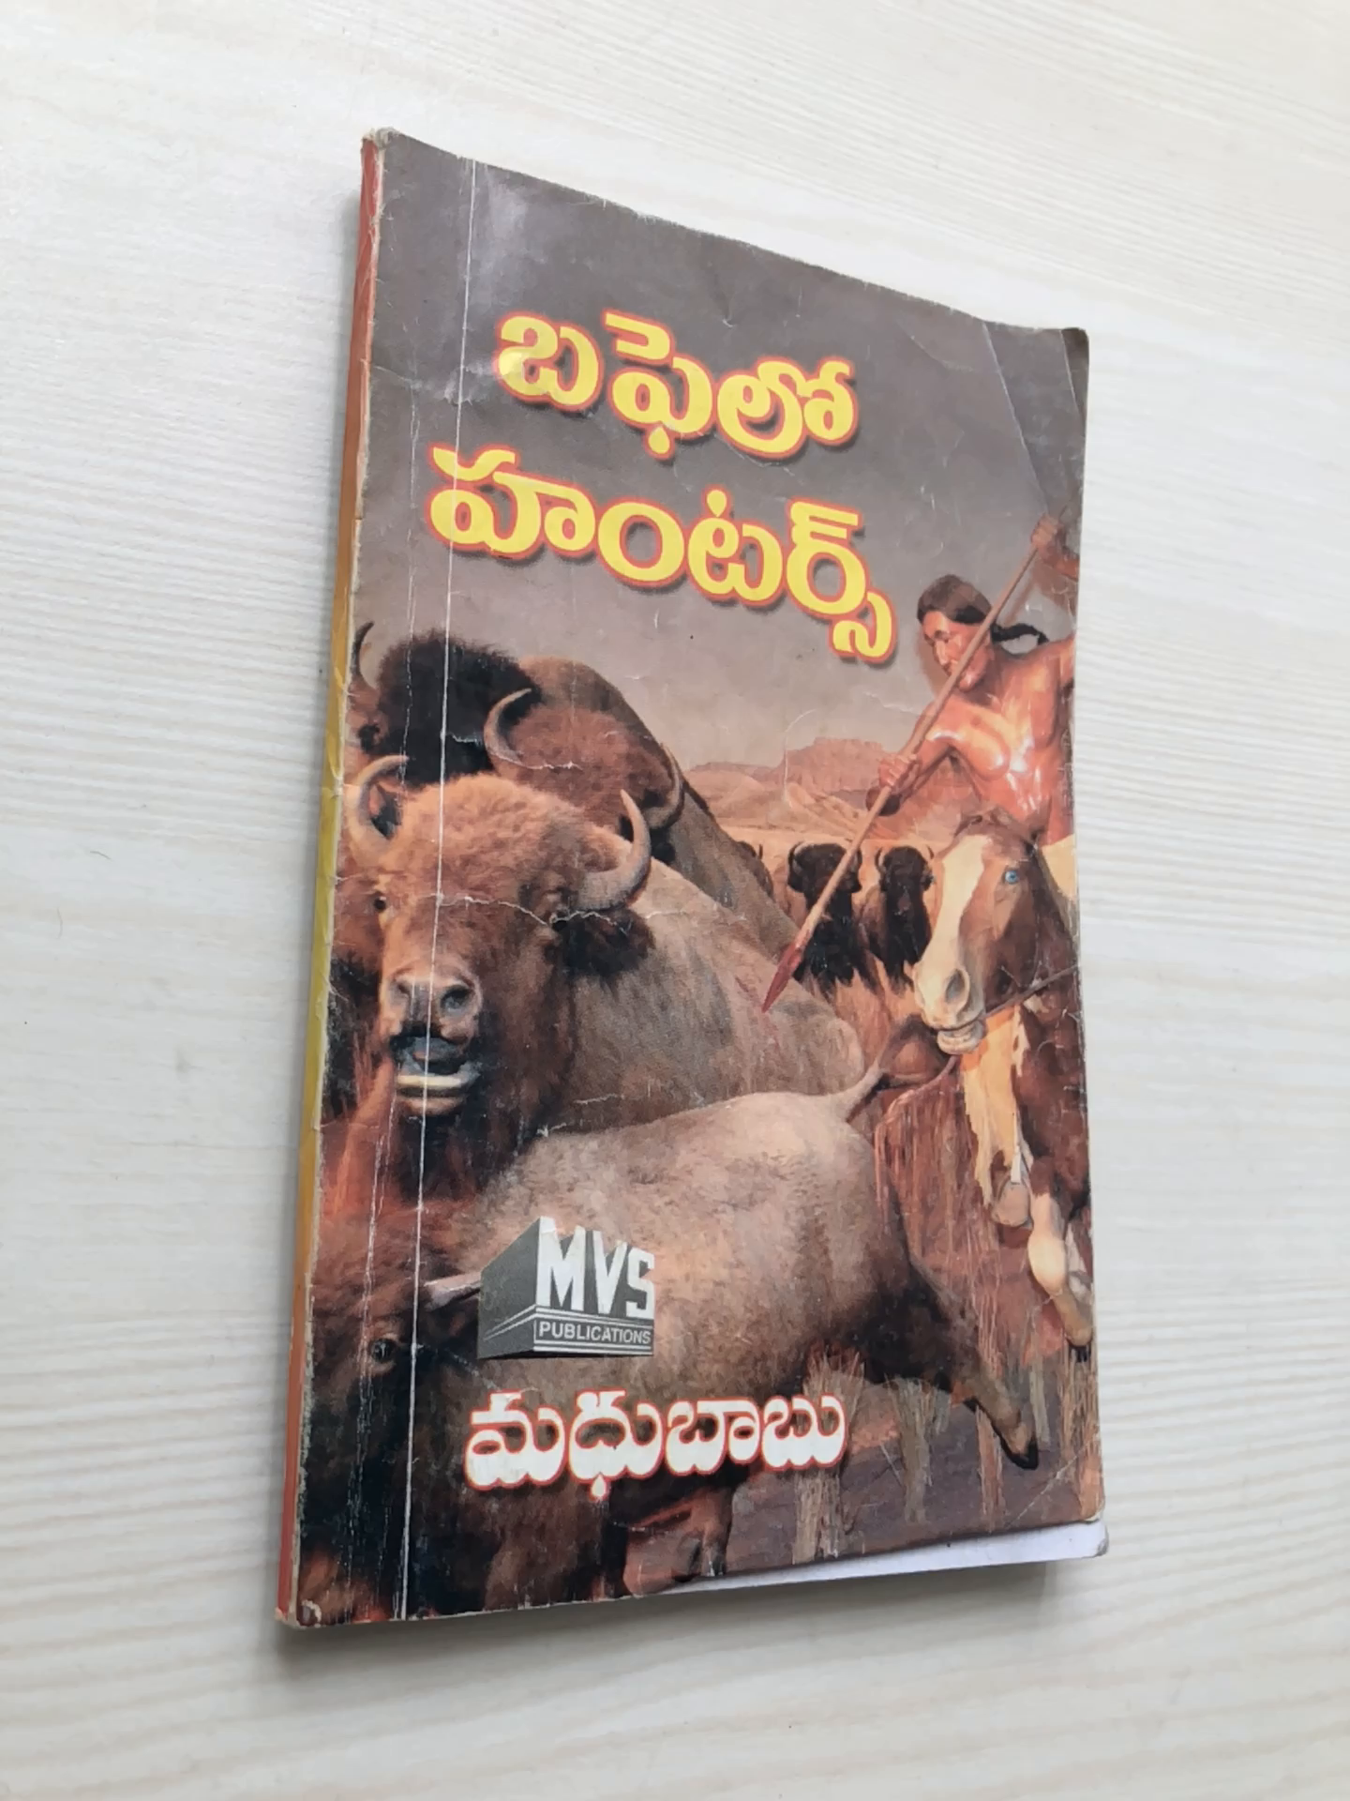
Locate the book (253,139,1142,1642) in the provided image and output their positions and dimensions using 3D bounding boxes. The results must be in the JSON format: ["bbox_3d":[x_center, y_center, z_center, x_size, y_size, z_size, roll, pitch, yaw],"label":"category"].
[{"bbox_3d":[0.008,0.000,0.180,0.100,0.020,0.150,5,84,-24],"label":"book"}]
